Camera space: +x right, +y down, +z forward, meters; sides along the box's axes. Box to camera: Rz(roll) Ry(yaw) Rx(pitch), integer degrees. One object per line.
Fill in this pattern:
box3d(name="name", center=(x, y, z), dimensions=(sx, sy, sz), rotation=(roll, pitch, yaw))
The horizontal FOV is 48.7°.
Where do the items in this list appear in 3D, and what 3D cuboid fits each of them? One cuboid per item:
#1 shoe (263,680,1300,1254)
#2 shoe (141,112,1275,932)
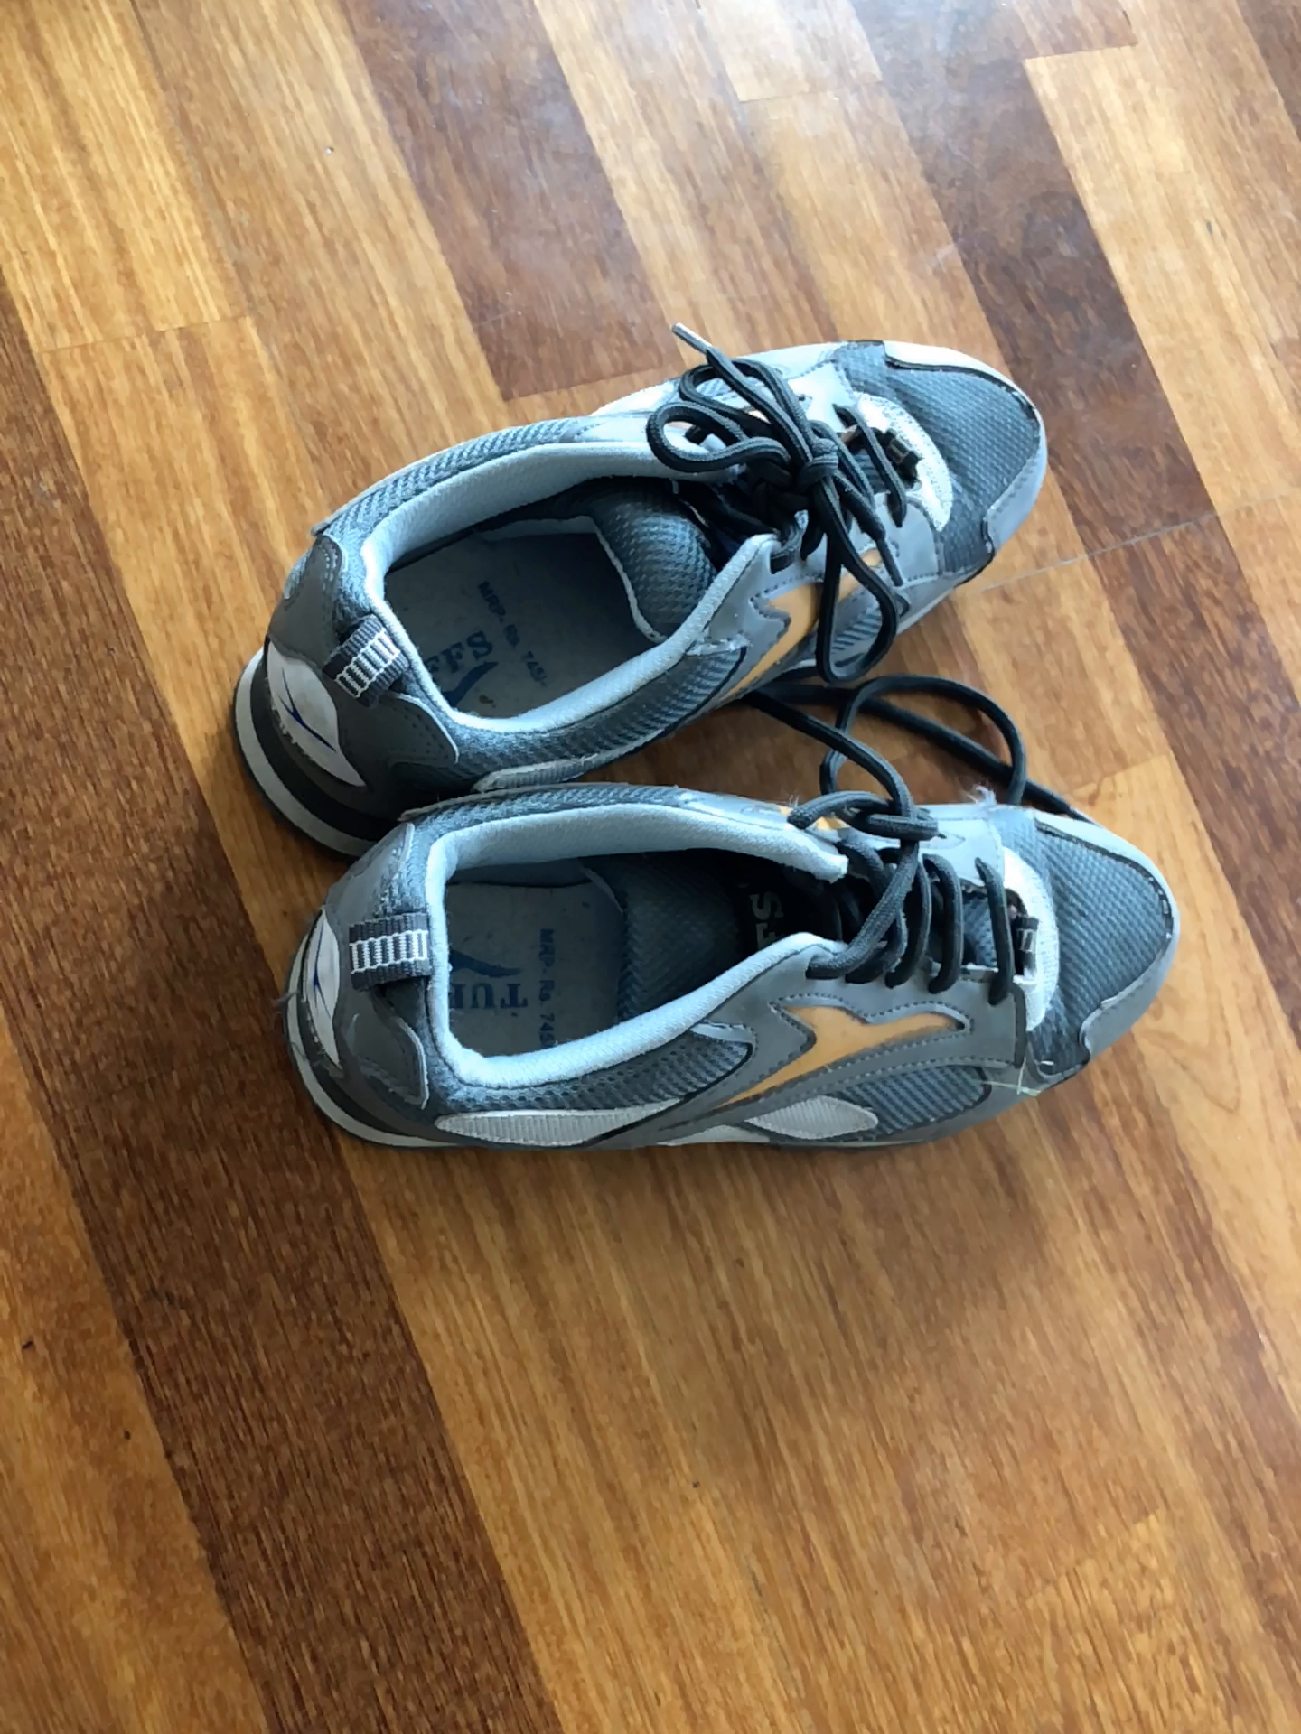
box3d(name="shoe", center=(0.052, 0.022, 0.378), dimensions=(0.283, 0.088, 0.110), rotation=(-4, 77, -21))
box3d(name="shoe", center=(0.019, -0.101, 0.404), dimensions=(0.284, 0.099, 0.112), rotation=(-26, 85, -23))
